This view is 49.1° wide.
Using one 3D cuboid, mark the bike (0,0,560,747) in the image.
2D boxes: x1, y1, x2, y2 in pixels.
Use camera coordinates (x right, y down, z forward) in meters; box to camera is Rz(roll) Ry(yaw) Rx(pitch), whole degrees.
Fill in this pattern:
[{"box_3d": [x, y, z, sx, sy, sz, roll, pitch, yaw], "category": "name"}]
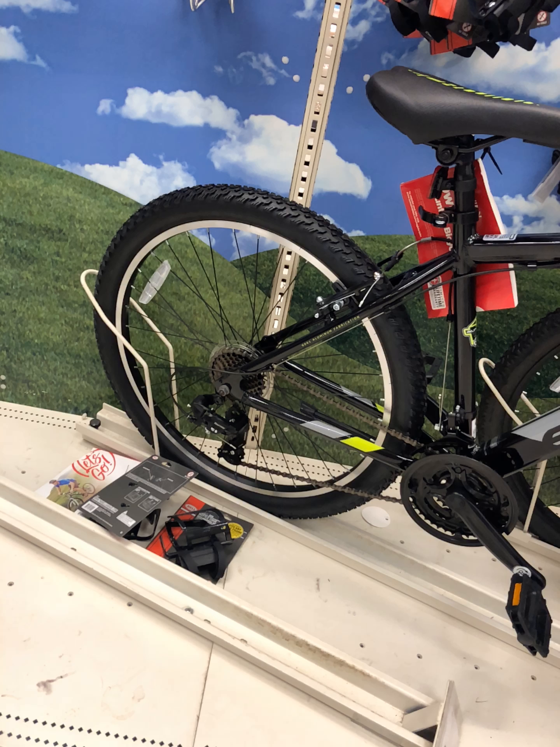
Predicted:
[{"box_3d": [0.358, 0.107, 0.785, 1.652, 1.002, 0.601, 24, 30, 18], "category": "bike"}]
